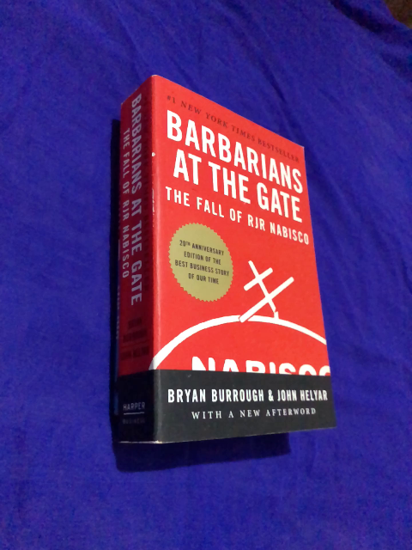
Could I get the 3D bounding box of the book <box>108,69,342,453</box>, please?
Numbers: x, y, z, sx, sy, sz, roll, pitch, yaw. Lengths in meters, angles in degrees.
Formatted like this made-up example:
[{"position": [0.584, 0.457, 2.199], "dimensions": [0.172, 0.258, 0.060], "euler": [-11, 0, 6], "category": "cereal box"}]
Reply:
[{"position": [0.013, -0.003, 0.300], "dimensions": [0.141, 0.050, 0.210], "euler": [12, 67, -40], "category": "book"}]
